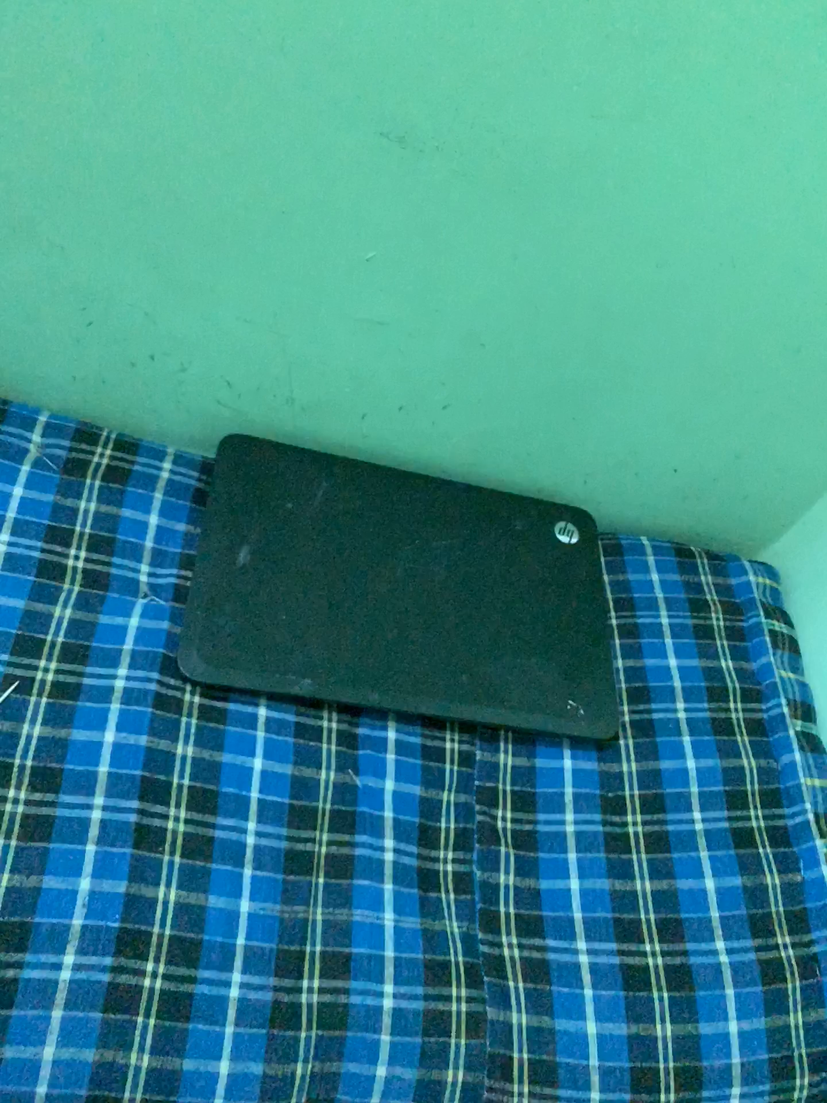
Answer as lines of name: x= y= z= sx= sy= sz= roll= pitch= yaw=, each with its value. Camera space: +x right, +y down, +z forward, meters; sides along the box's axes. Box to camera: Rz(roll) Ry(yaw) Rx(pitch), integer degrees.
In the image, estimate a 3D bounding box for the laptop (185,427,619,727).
laptop: x=0.003 y=0.020 z=0.716 sx=0.346 sy=0.018 sz=0.217 roll=10 pitch=56 yaw=-14
